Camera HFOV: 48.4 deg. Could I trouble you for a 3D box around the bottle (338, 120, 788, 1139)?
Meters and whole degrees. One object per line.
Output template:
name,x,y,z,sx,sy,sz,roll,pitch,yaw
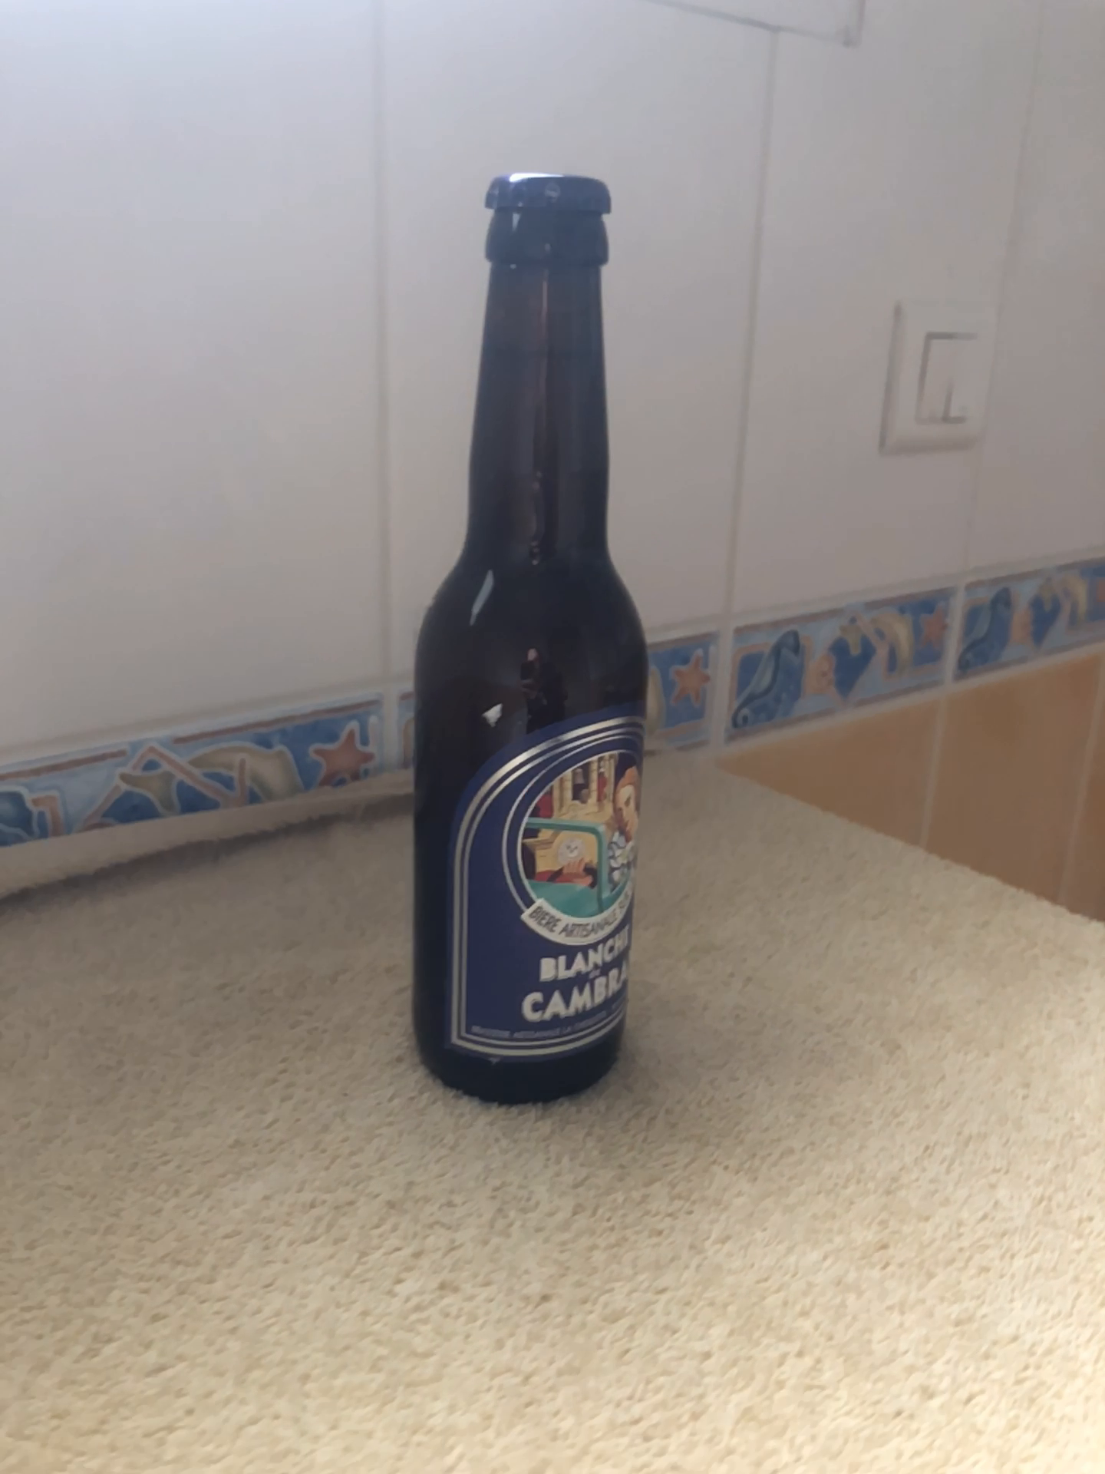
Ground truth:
bottle,-0.001,-0.024,0.305,0.070,0.219,0.070,2,19,-1
